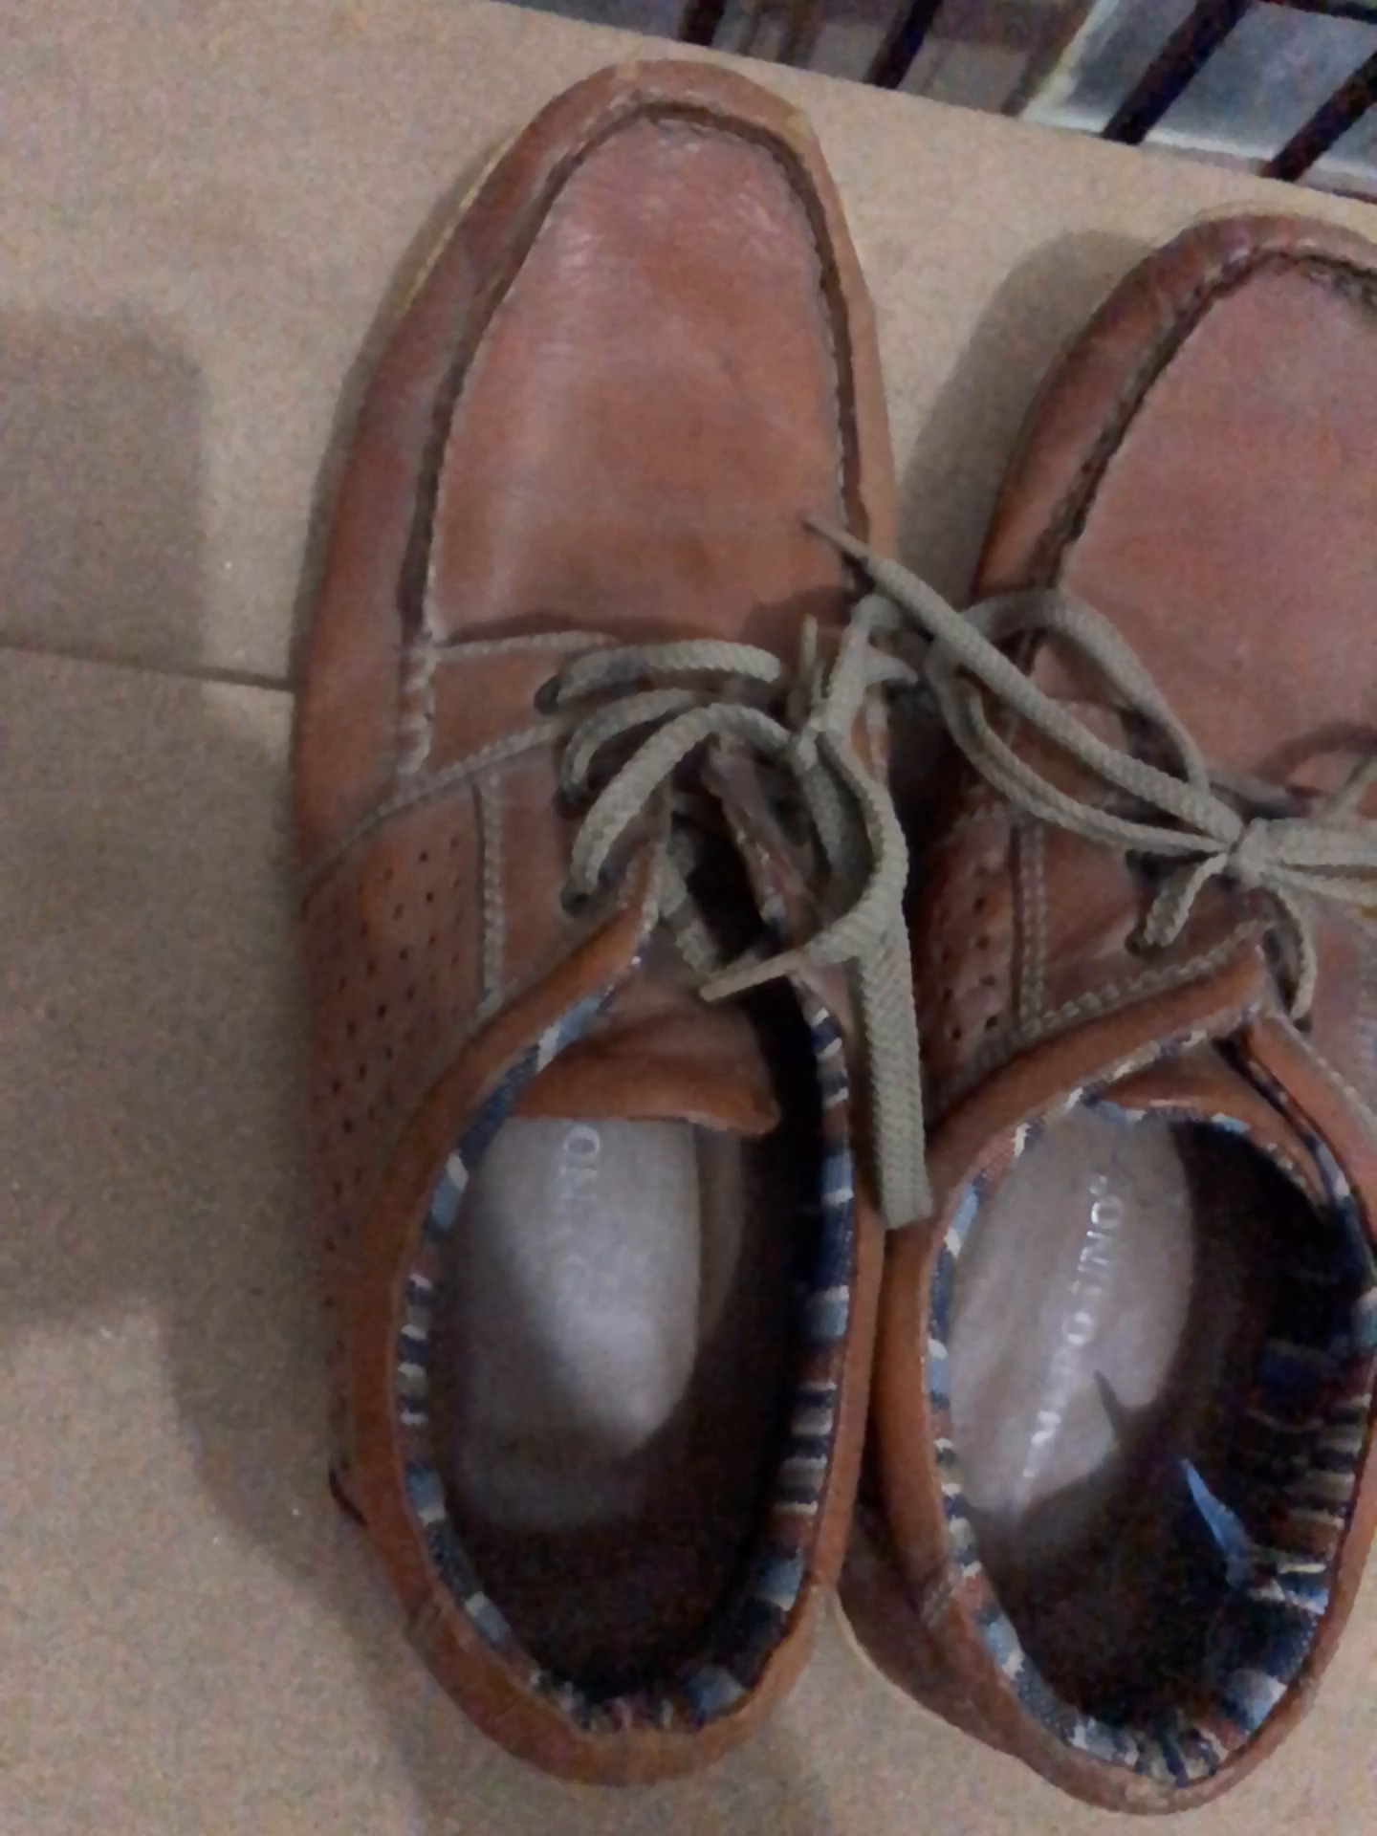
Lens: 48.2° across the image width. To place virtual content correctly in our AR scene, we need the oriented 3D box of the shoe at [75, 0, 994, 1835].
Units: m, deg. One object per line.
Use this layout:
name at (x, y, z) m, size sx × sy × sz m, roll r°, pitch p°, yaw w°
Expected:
shoe at (-0.014, -0.025, 0.251) m, size 0.100 × 0.100 × 0.287 m, roll 3°, pitch 79°, yaw -2°

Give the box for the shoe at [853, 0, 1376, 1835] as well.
shoe at (0.103, -0.006, 0.258) m, size 0.100 × 0.100 × 0.280 m, roll 9°, pitch 78°, yaw -1°
